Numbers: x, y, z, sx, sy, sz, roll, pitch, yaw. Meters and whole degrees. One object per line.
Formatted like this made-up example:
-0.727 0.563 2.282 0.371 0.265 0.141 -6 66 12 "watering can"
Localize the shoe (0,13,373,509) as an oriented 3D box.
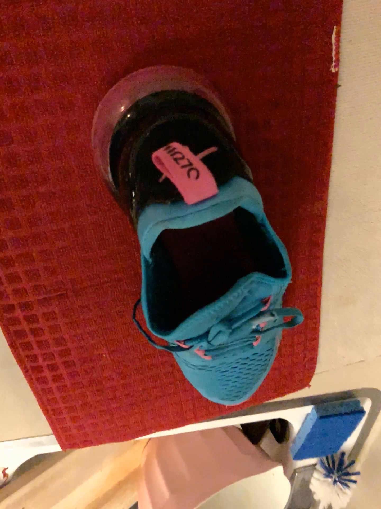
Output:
0.024 0.034 0.309 0.150 0.130 0.330 -19 125 -3 "shoe"
